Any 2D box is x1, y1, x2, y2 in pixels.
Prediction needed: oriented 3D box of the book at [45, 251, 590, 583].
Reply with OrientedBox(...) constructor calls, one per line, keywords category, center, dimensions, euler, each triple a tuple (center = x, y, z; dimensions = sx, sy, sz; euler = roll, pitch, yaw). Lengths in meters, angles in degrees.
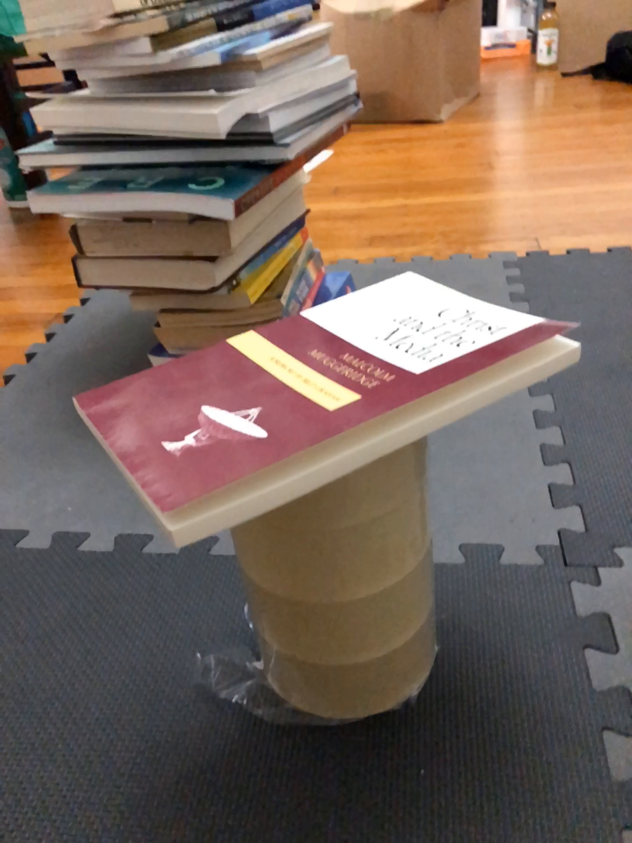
OrientedBox(category="book", center=(-0.002, -0.023, 0.325), dimensions=(0.210, 0.020, 0.141), euler=(-25, 37, -24))
